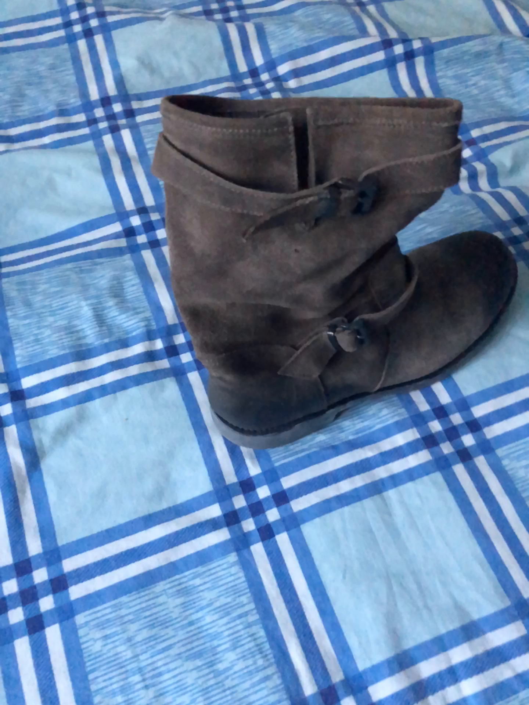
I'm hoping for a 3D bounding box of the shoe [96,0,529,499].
[{"bbox_3d":[0.086,-0.063,0.429,0.320,0.289,0.130,-25,64,-14],"label":"shoe"}]
